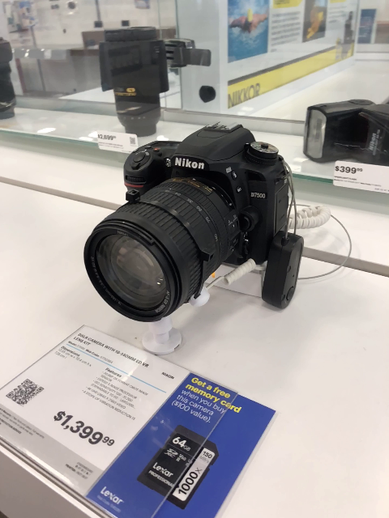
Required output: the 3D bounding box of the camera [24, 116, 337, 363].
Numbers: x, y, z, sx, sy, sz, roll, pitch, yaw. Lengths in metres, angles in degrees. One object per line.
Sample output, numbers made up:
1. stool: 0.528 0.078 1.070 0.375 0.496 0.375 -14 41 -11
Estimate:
1. camera: 0.003 -0.036 0.334 0.160 0.100 0.171 13 34 26
